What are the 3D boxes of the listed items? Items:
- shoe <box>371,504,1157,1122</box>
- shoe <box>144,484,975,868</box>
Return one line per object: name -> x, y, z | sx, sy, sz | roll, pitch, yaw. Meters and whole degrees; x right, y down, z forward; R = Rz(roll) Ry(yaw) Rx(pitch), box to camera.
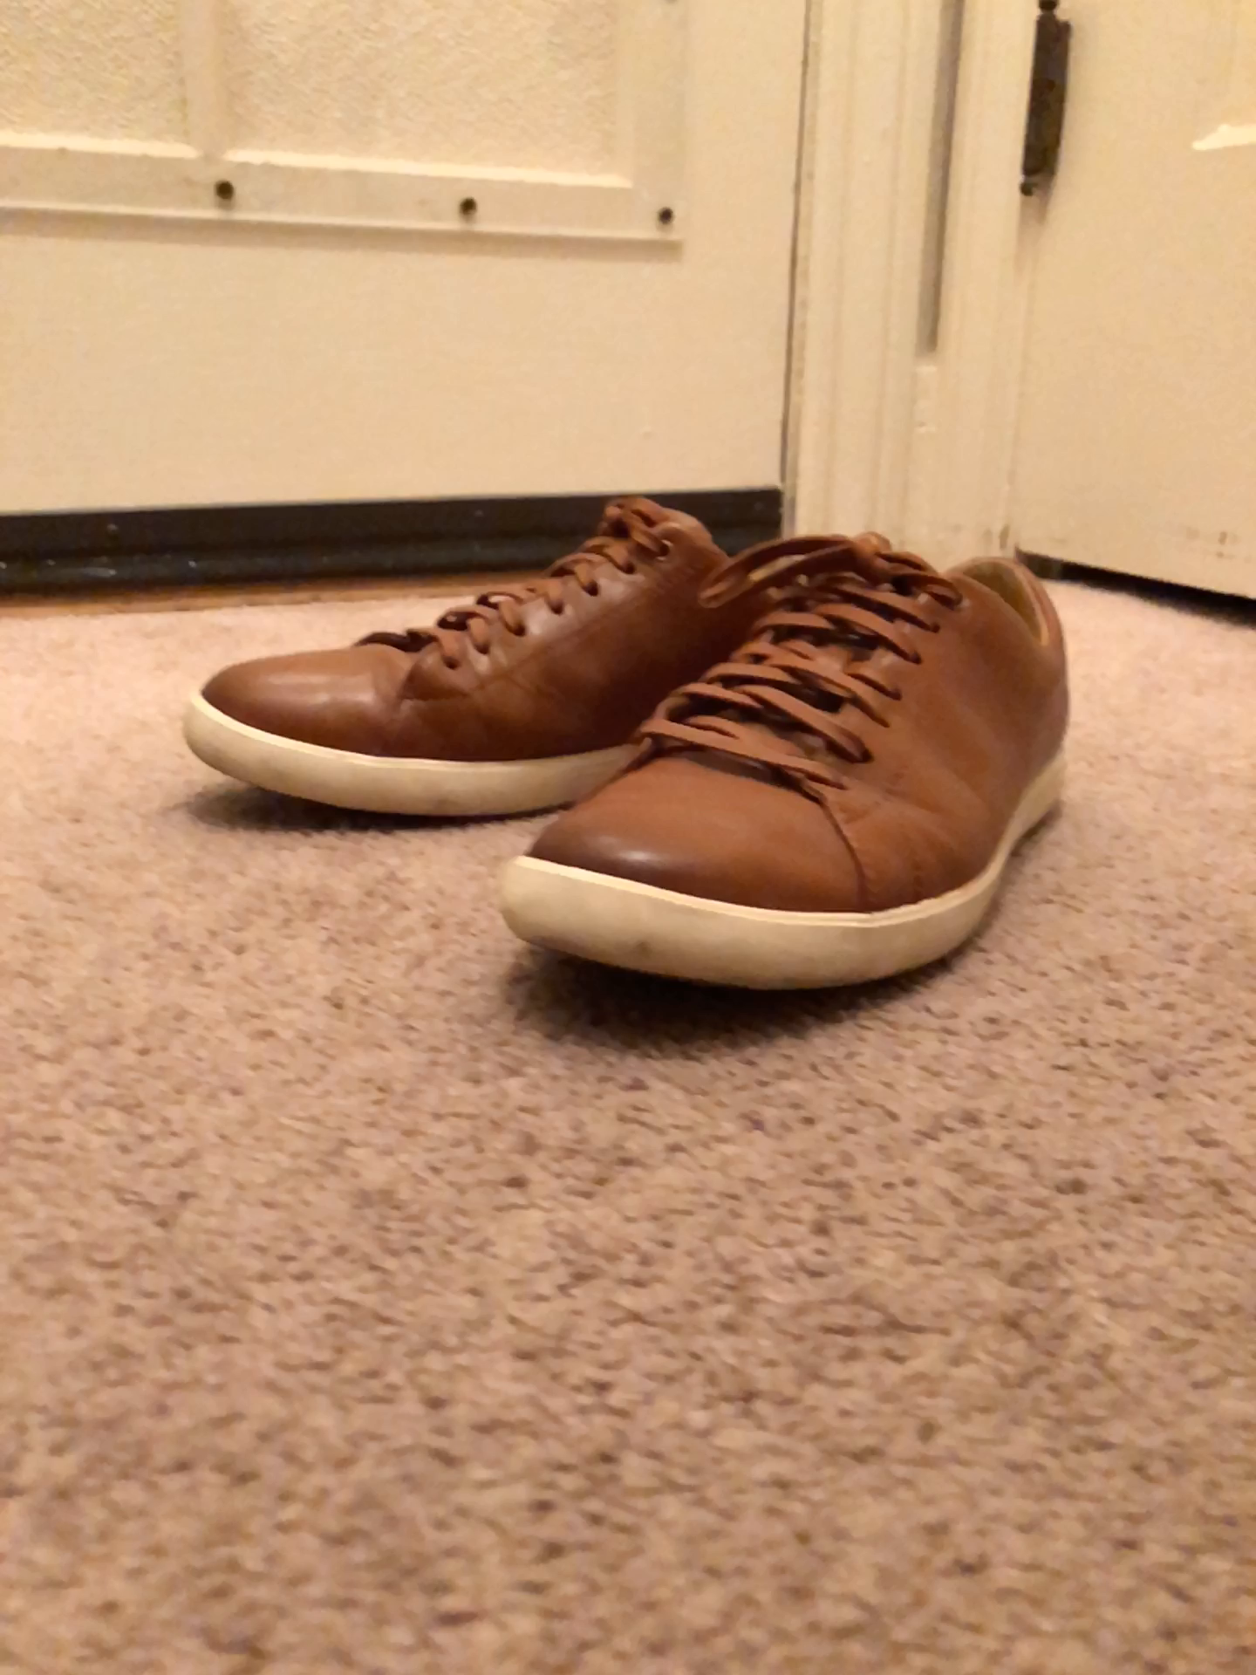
shoe -> 0.064, -0.036, 0.423 | 0.117, 0.100, 0.286 | 12, 21, 29
shoe -> -0.022, -0.075, 0.531 | 0.285, 0.102, 0.117 | -8, 21, -26
